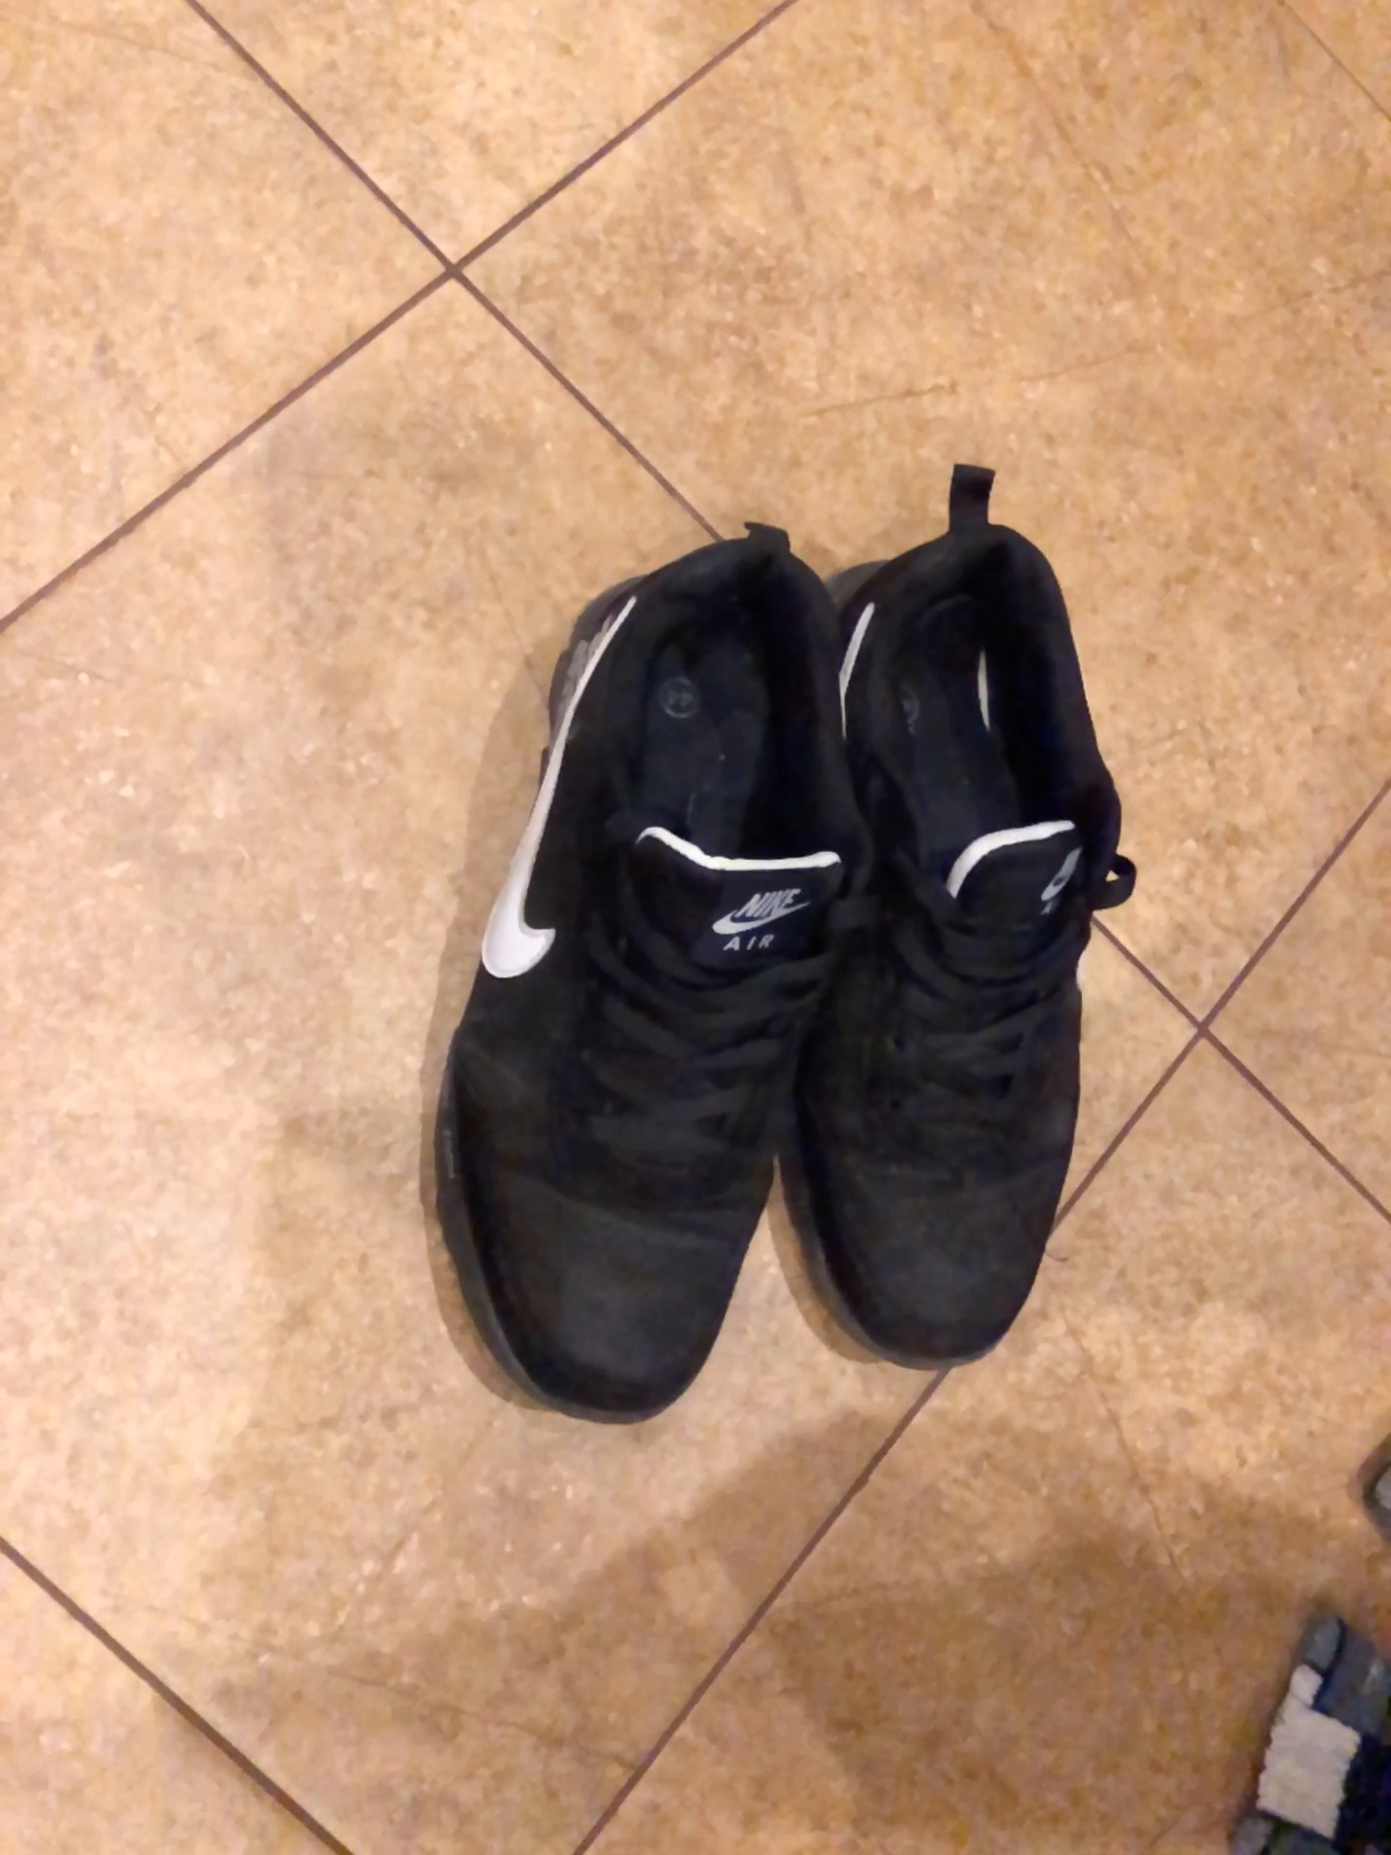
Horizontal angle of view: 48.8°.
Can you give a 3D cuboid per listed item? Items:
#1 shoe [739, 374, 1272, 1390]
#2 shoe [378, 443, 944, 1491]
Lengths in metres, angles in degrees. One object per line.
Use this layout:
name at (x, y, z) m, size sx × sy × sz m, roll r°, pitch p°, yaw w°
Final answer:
shoe at (0.092, -0.009, 0.515) m, size 0.120 × 0.120 × 0.300 m, roll 3°, pitch 78°, yaw -16°
shoe at (-0.013, 0.015, 0.469) m, size 0.110 × 0.120 × 0.270 m, roll 11°, pitch 76°, yaw -14°
